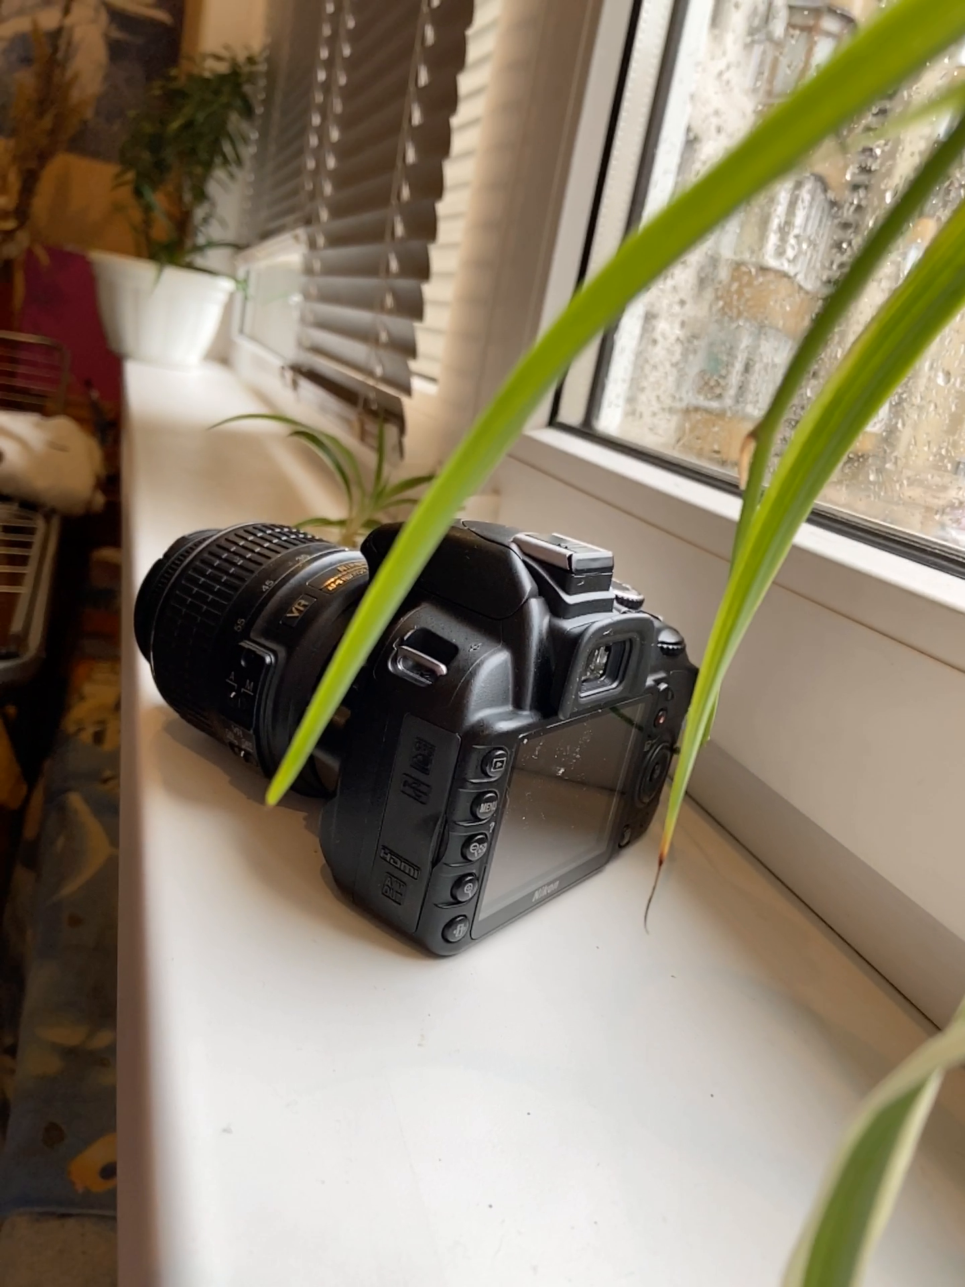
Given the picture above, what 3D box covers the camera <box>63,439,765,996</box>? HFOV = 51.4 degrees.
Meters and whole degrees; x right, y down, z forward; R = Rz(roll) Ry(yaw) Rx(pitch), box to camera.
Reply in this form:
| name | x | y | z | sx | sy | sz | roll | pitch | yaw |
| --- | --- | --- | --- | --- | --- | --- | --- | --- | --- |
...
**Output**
| name | x | y | z | sx | sy | sz | roll | pitch | yaw |
| --- | --- | --- | --- | --- | --- | --- | --- | --- | --- |
| camera | -0.023 | 0.003 | 0.303 | 0.159 | 0.092 | 0.122 | 22 | 19 | 33 |
